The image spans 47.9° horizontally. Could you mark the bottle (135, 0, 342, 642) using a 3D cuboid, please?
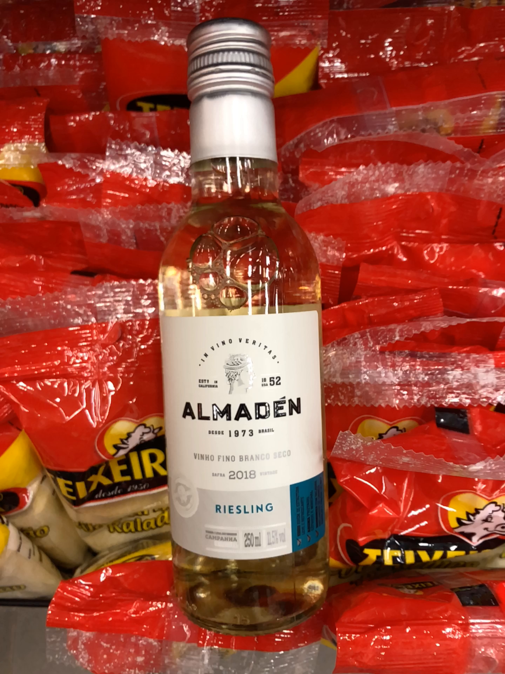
[{"bbox_3d":[-0.003,-0.011,0.195,0.060,0.040,0.210,-1,91,4],"label":"bottle"}]
